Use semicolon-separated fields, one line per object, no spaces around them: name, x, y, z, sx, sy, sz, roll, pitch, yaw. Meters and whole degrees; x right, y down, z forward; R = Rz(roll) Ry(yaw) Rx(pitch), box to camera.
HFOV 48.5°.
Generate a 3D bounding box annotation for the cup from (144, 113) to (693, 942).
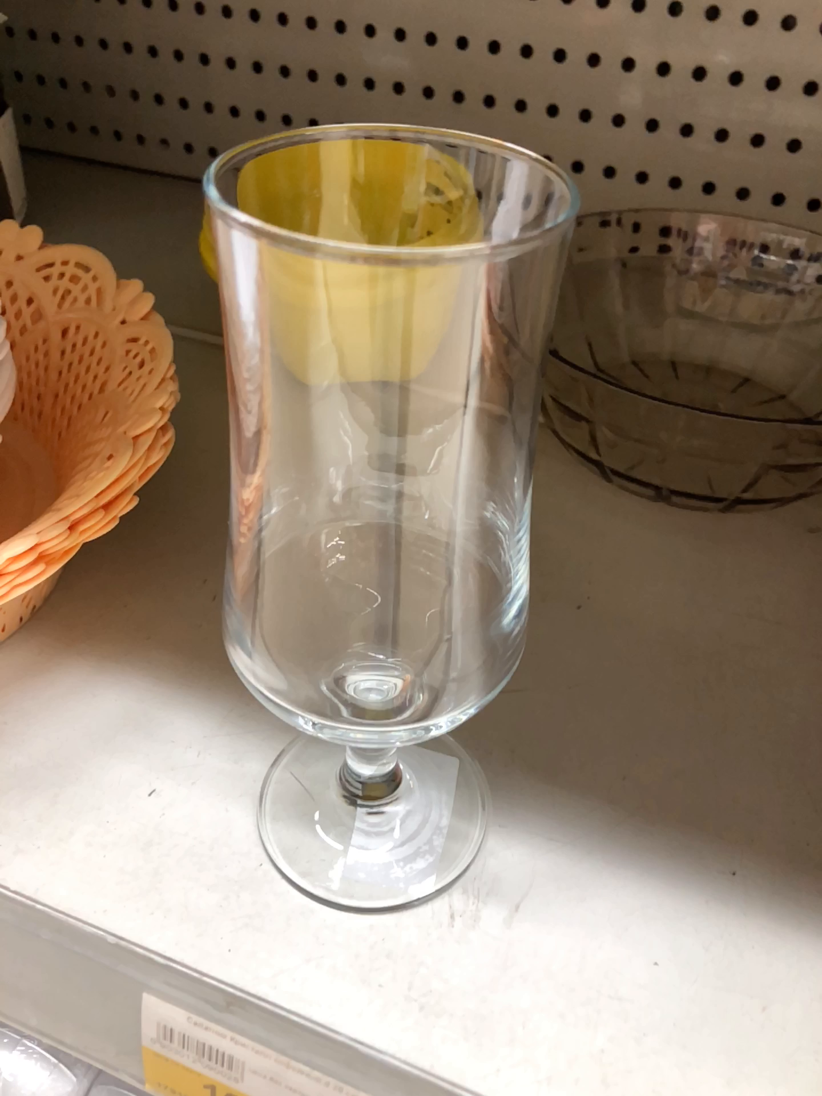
cup;-0.008;0.004;0.217;0.079;0.177;0.079;2;40;-1
